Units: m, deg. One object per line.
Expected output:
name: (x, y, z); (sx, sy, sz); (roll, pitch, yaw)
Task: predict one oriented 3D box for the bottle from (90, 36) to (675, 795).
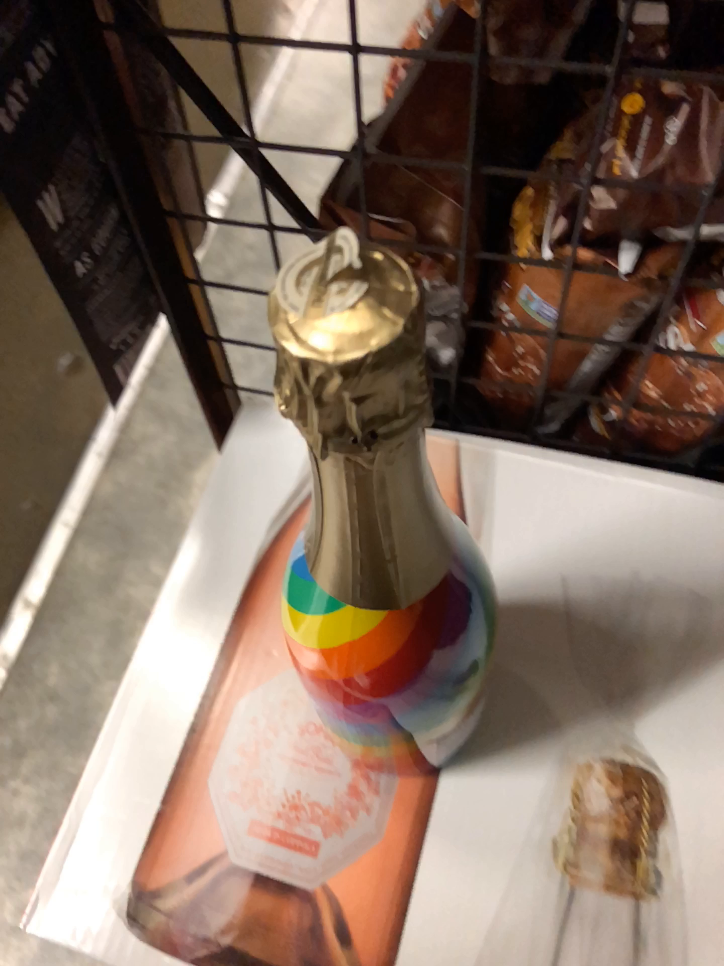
bottle: (0.016, 0.027, 0.291); (0.088, 0.320, 0.088); (-2, 60, 3)
